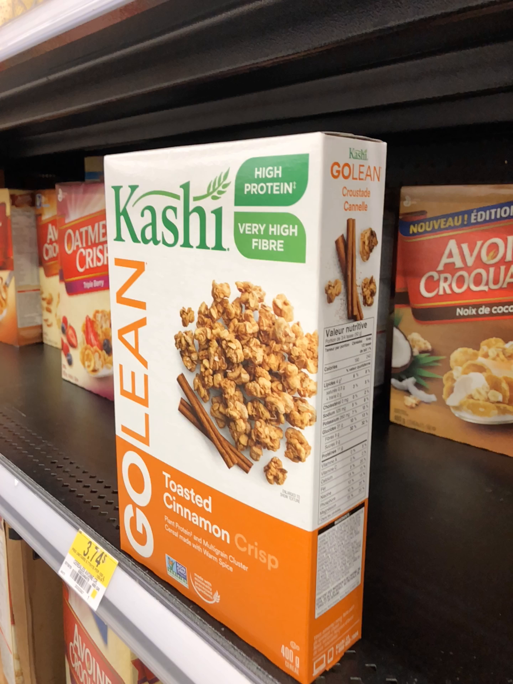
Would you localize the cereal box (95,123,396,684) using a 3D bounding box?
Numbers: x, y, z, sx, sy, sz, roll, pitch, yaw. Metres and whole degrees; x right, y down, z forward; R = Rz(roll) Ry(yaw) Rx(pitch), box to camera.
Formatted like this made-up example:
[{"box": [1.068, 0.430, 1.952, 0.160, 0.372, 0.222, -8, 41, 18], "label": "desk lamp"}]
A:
[{"box": [-0.018, 0.021, 0.316, 0.050, 0.249, 0.170, -11, 17, -44], "label": "cereal box"}]
